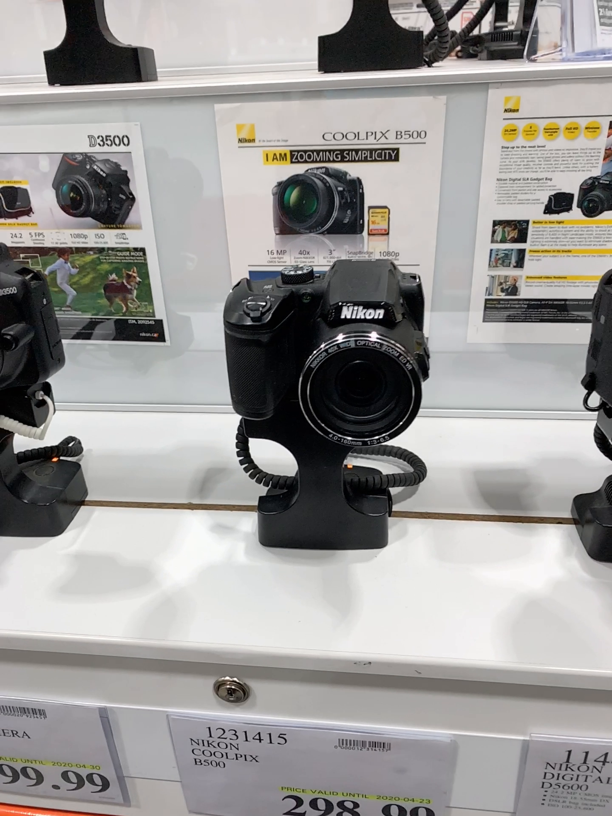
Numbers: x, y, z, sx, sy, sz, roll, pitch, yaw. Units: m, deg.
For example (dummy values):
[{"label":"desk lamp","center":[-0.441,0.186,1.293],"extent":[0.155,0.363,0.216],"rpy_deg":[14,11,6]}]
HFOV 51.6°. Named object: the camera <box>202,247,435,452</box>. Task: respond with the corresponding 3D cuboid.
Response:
[{"label":"camera","center":[0.010,-0.033,0.349],"extent":[0.110,0.089,0.071],"rpy_deg":[-1,28,5]}]
